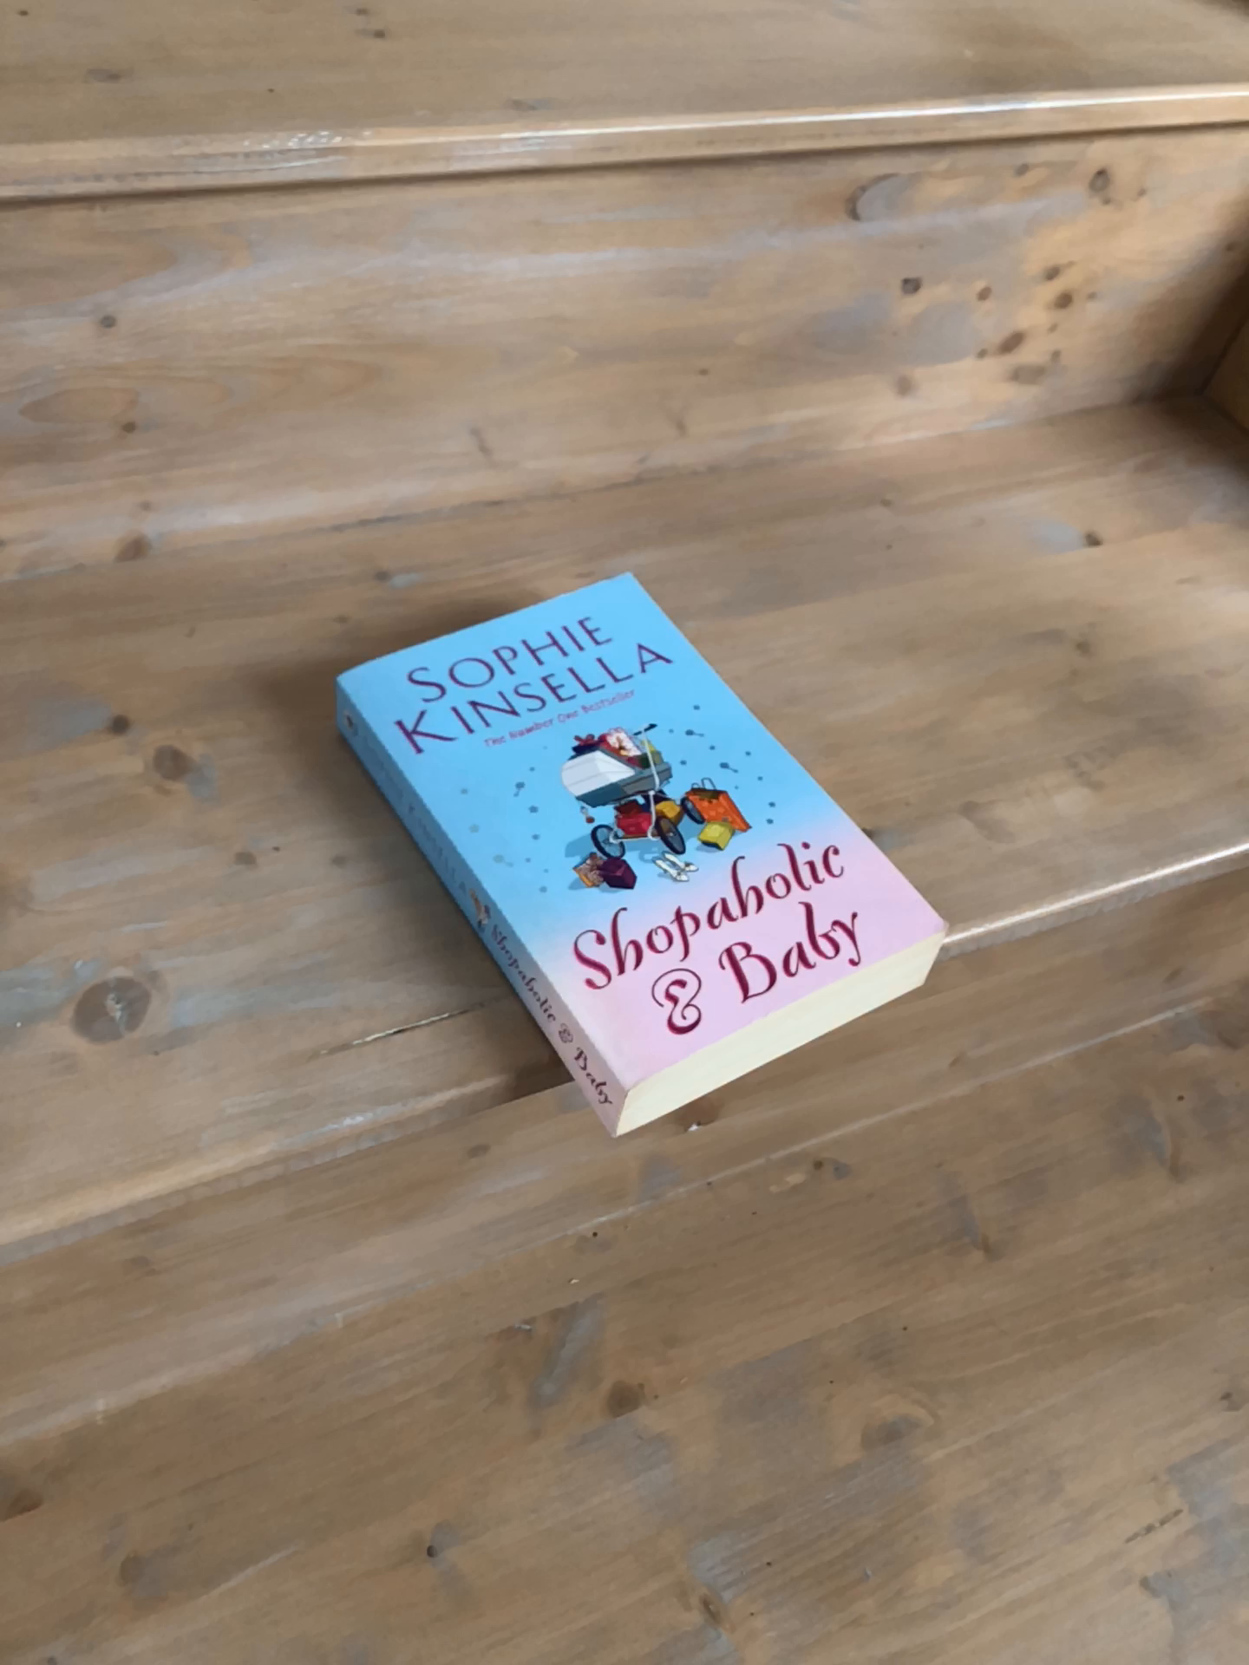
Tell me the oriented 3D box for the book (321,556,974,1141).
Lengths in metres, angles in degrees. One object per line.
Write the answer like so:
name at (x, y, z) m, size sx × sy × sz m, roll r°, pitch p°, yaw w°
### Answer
book at (0.000, -0.010, 0.486) m, size 0.131 × 0.031 × 0.211 m, roll -23°, pitch 54°, yaw -25°
